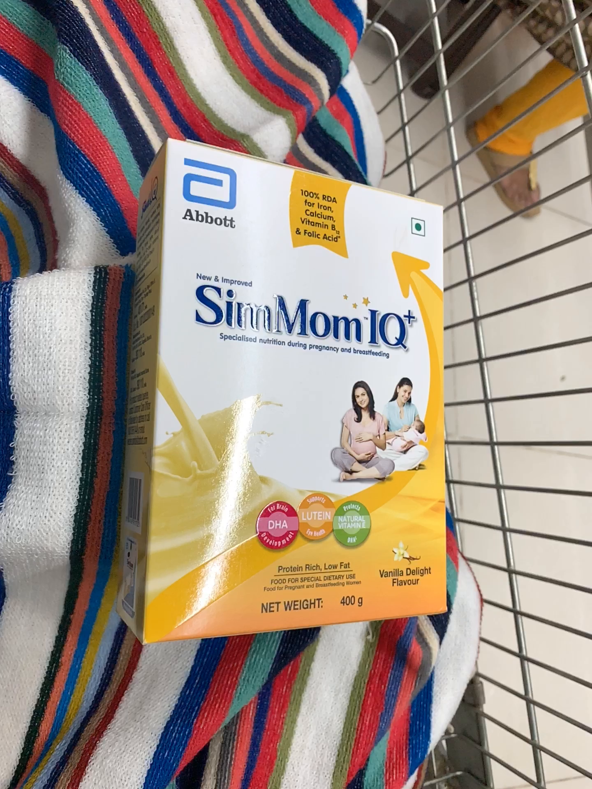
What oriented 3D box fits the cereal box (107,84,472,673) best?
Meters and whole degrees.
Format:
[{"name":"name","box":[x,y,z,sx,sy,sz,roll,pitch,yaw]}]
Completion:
[{"name":"cereal box","box":[0.003,-0.003,0.259,0.140,0.050,0.200,5,83,-26]}]
